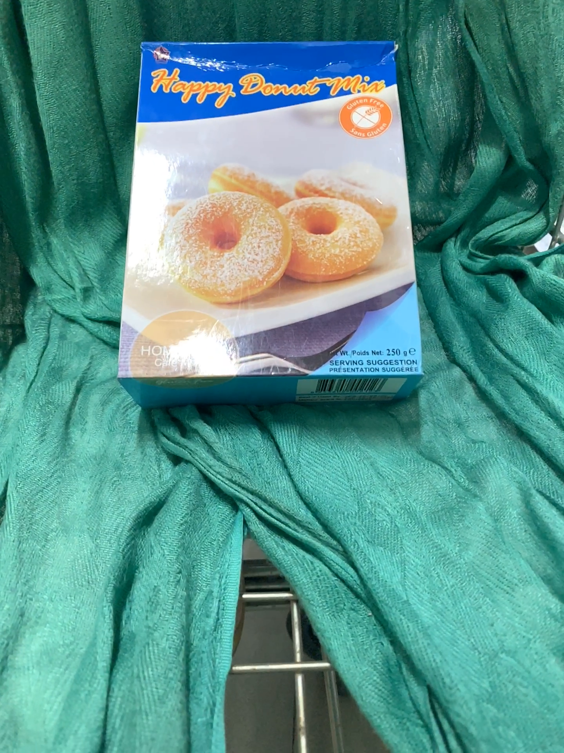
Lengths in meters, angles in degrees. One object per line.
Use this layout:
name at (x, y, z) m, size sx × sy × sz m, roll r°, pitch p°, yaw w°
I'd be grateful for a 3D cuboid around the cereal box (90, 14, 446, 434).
cereal box at (-0.007, -0.069, 0.268) m, size 0.130 × 0.060 × 0.180 m, roll 0°, pitch 73°, yaw -2°
